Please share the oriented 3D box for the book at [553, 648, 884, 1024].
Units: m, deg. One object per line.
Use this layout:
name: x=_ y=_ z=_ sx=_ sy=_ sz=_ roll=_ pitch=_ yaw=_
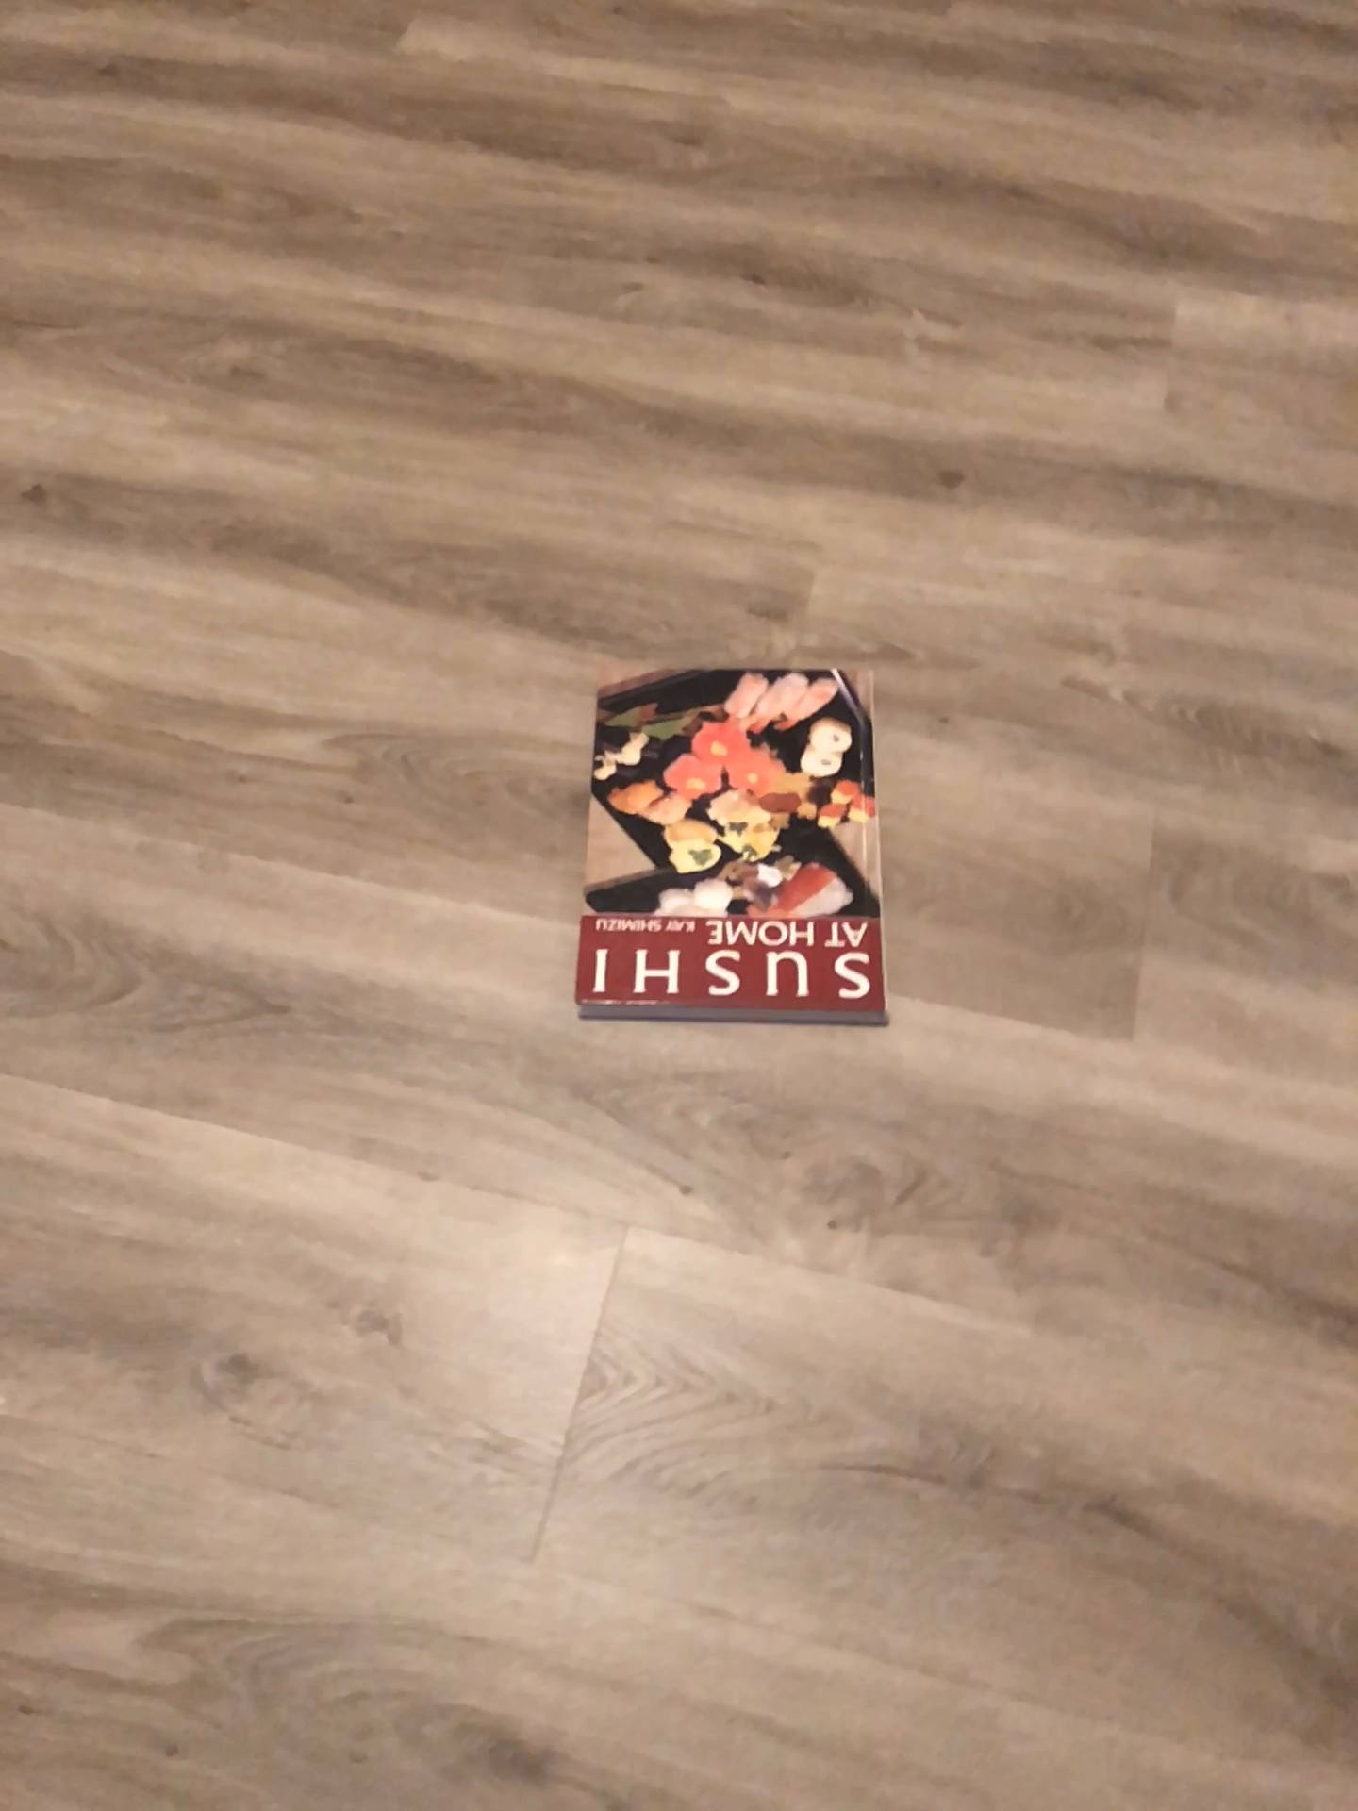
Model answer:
book: x=0.028 y=-0.051 z=0.945 sx=0.190 sy=0.030 sz=0.259 roll=2 pitch=58 yaw=2
